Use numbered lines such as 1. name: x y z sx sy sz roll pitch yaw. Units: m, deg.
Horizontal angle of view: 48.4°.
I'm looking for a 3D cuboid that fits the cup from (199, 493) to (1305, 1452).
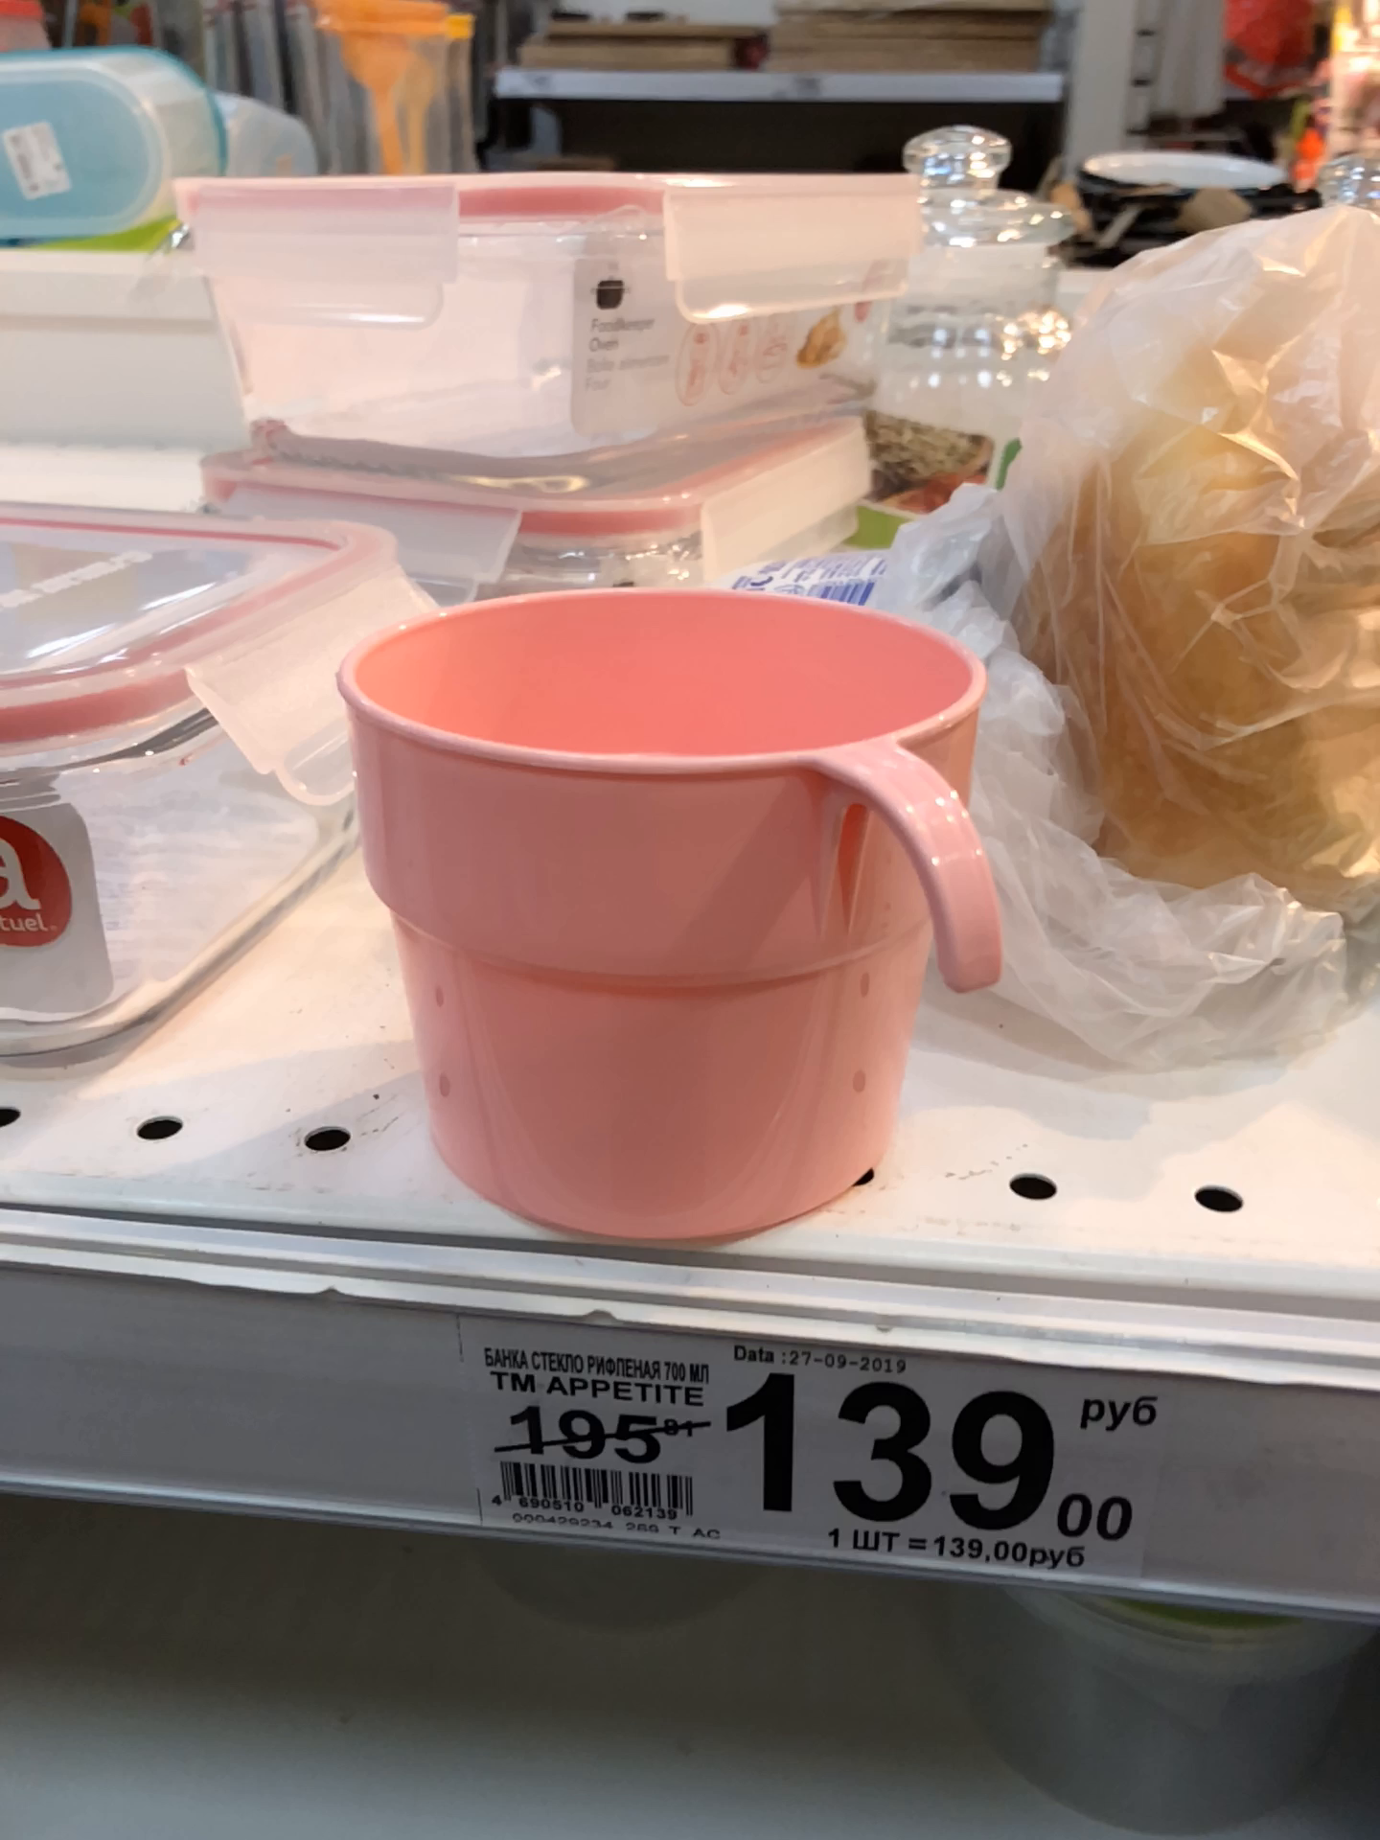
1. cup: 0.002 -0.008 0.201 0.081 0.070 0.110 -19 32 -36
